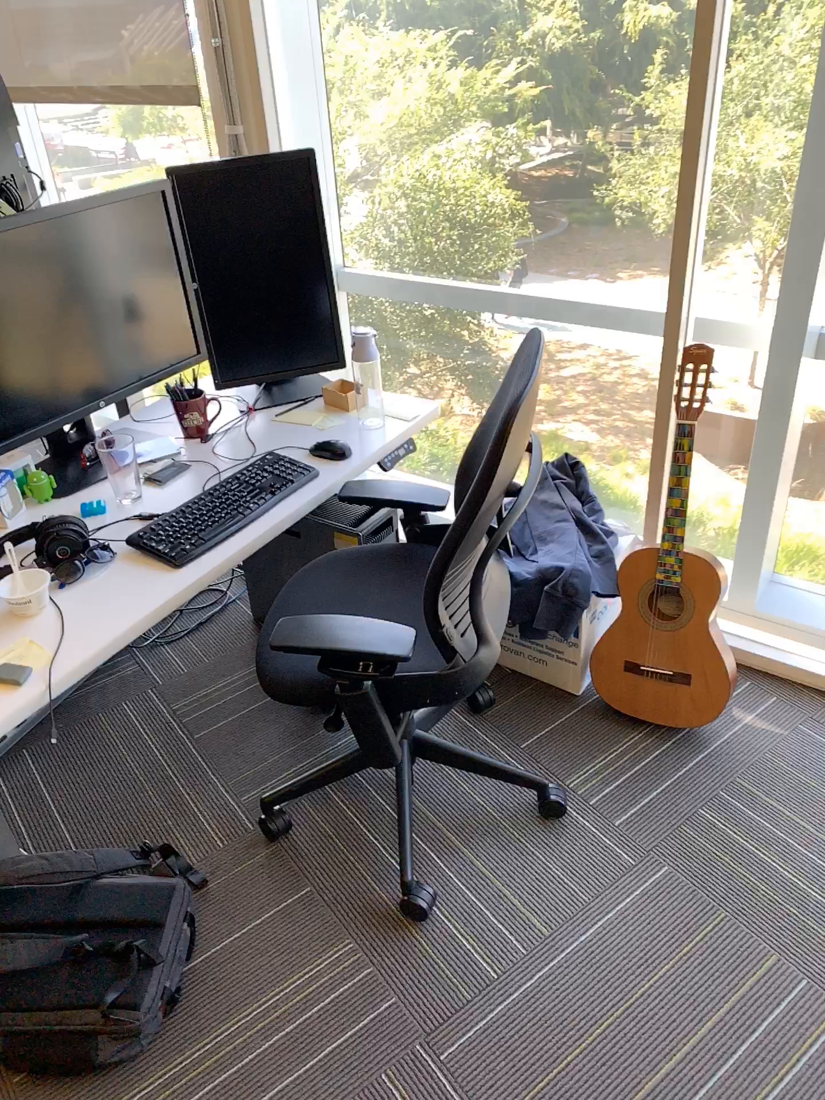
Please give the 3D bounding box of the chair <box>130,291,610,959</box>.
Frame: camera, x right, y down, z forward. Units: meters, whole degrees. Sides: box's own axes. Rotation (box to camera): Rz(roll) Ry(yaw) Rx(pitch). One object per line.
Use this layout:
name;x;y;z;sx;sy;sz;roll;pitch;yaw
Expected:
chair;-0.001;0.170;1.819;0.690;1.223;0.714;0;32;7
